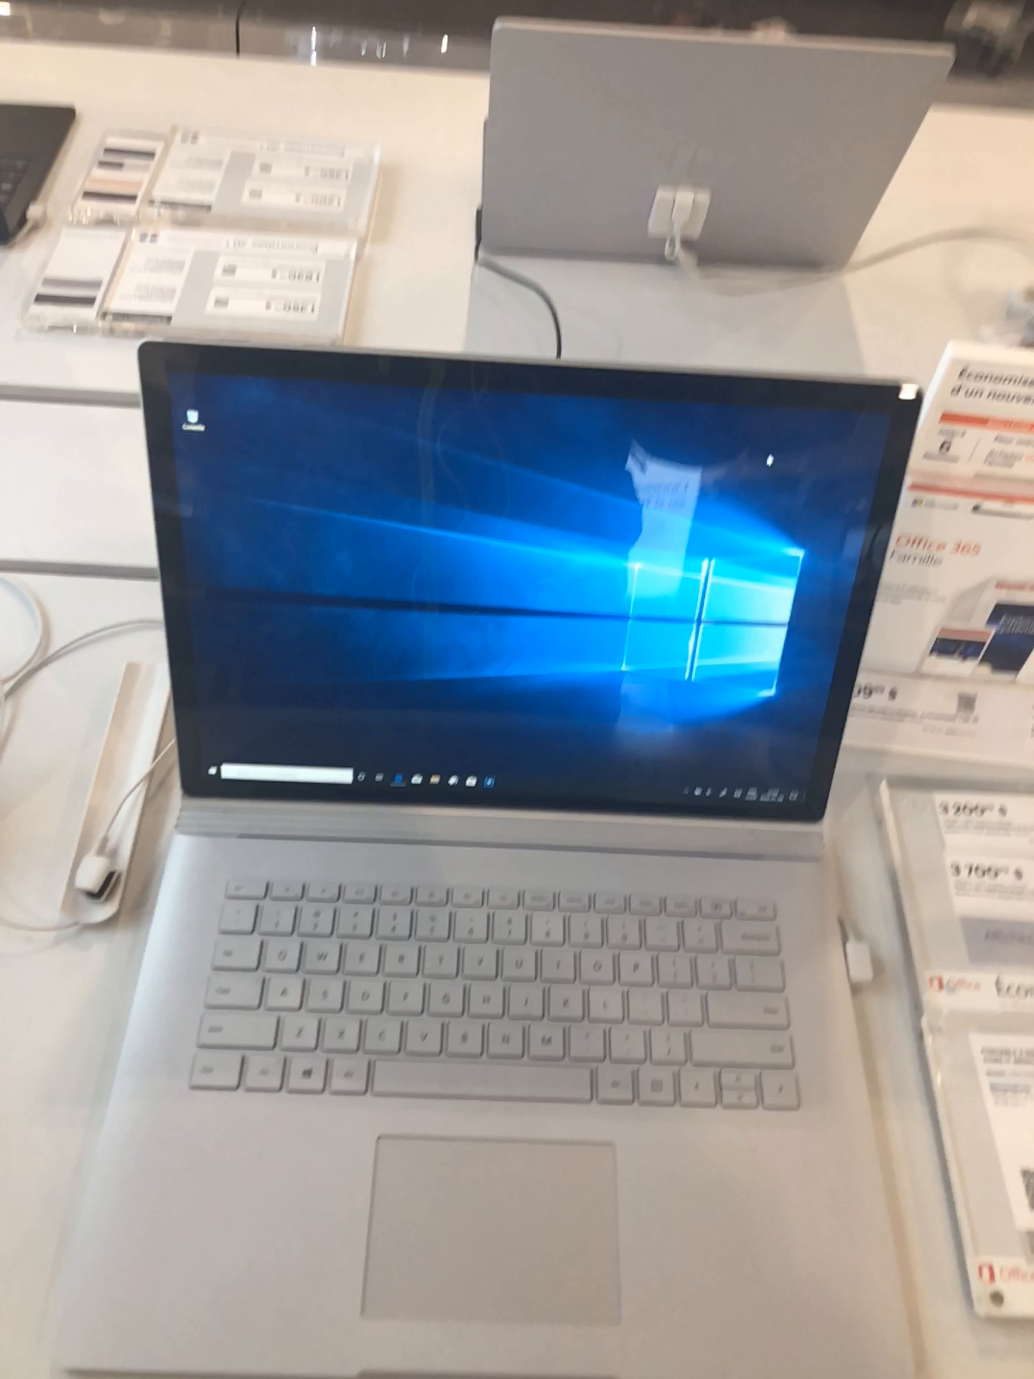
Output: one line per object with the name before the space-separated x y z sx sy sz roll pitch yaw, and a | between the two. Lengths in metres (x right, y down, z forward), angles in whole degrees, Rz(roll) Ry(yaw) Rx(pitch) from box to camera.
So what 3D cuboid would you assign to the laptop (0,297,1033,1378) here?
laptop | -0.003 0.056 0.476 0.338 0.207 0.365 3 55 -3
